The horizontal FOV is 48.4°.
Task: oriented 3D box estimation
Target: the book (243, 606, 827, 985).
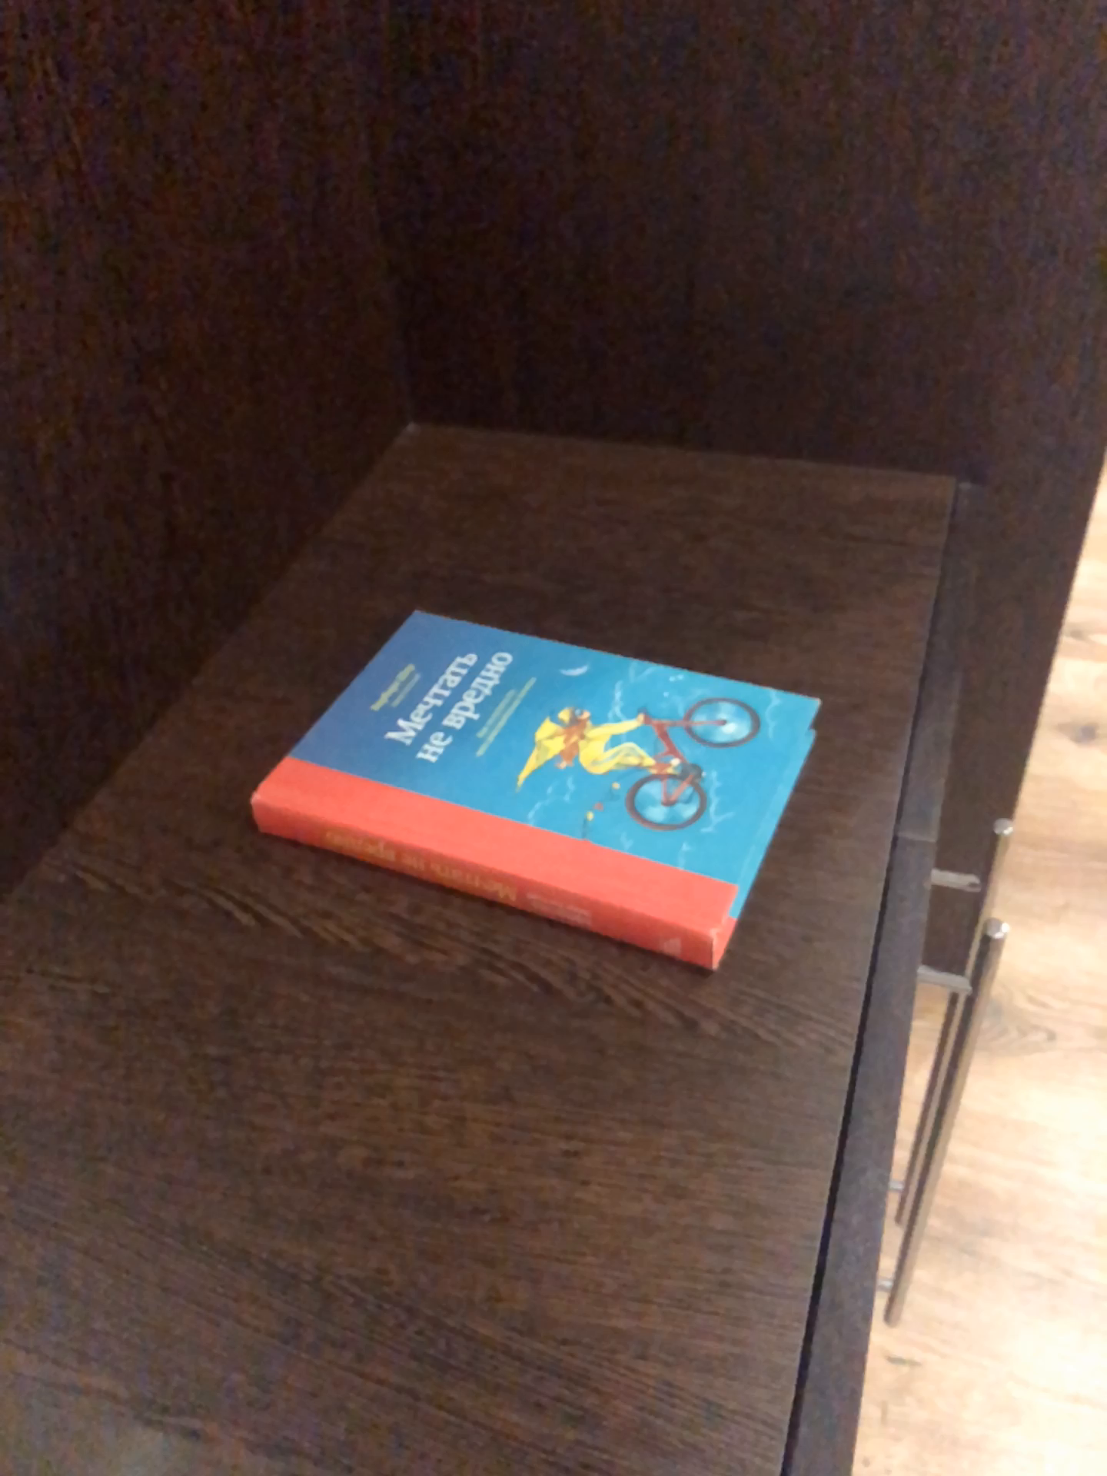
[{"bbox_3d":[-0.004,0.014,0.537,0.211,0.025,0.146,14,45,19],"label":"book"}]
